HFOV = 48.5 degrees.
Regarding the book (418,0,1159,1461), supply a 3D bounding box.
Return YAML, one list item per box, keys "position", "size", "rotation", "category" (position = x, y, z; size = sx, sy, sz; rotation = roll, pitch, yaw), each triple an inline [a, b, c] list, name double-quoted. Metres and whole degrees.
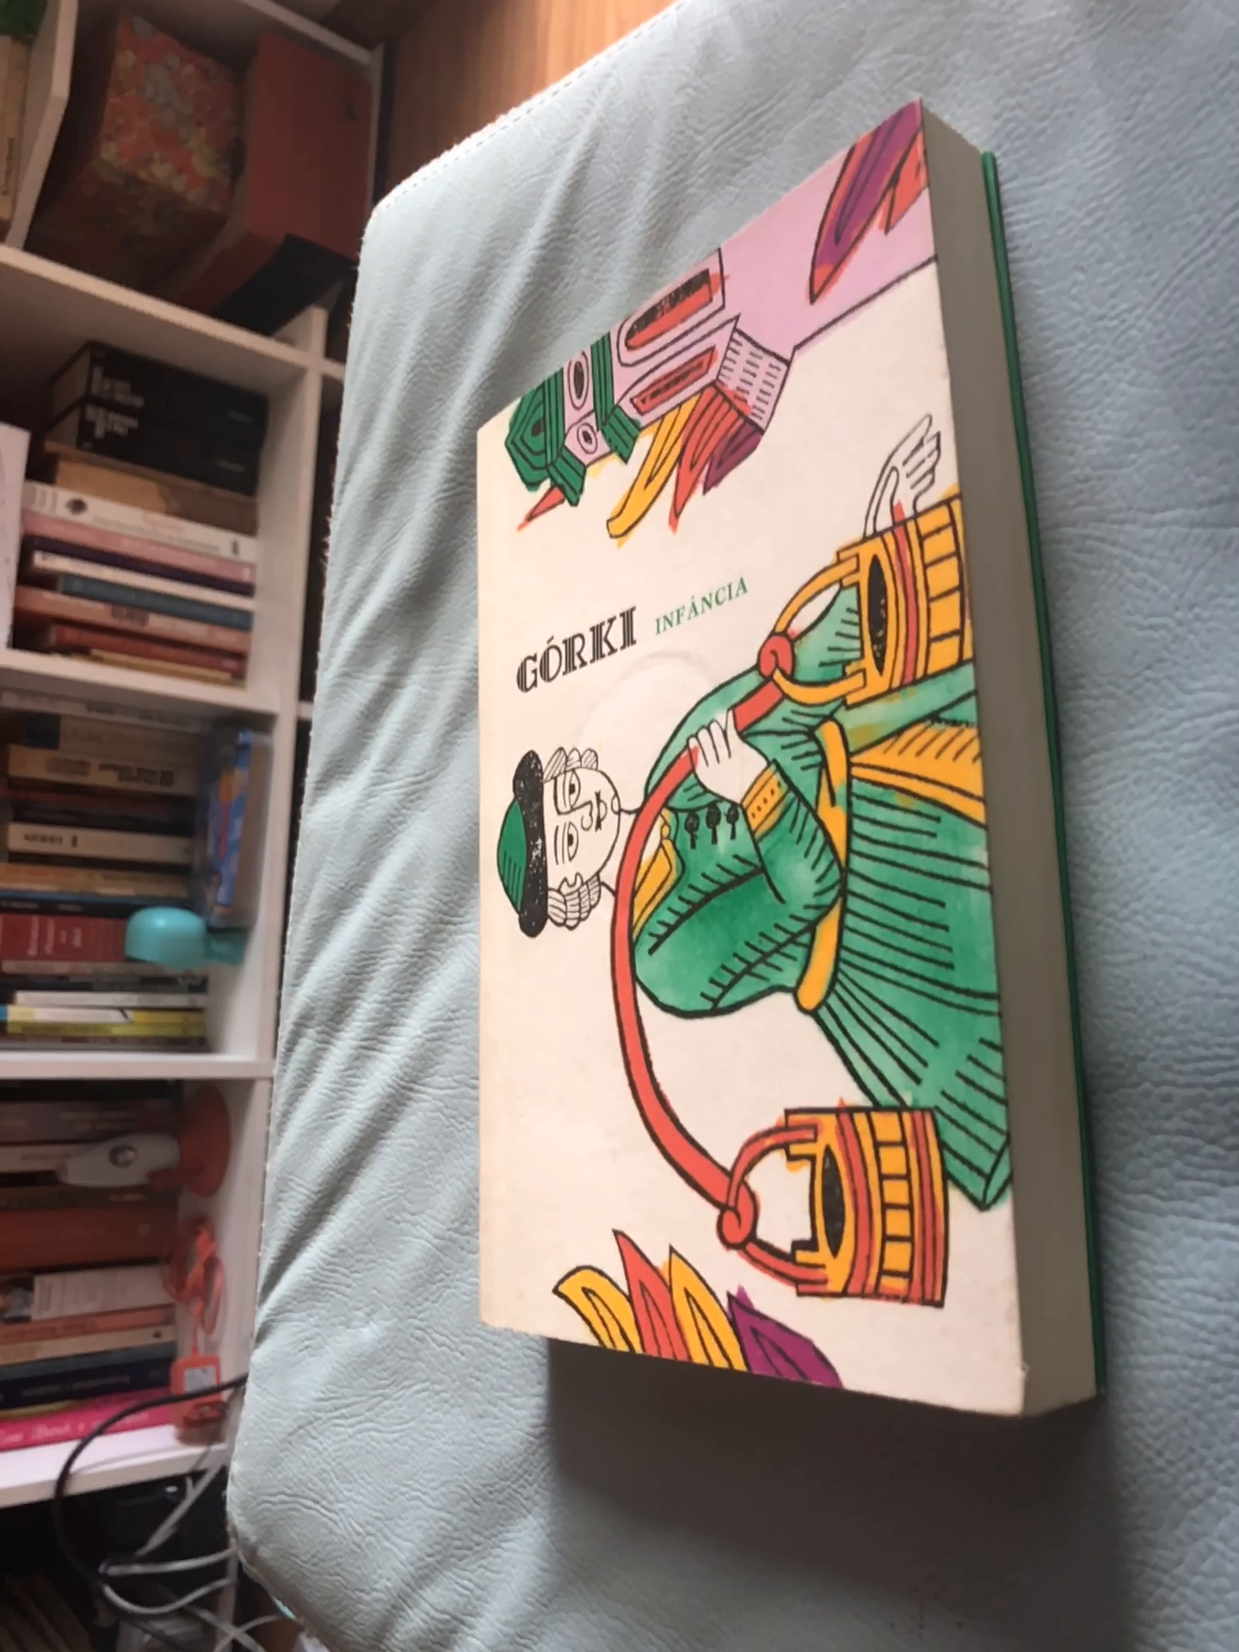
- position: [0.012, -0.011, 0.236]
  size: [0.131, 0.030, 0.200]
  rotation: [-17, 70, 49]
  category: "book"
